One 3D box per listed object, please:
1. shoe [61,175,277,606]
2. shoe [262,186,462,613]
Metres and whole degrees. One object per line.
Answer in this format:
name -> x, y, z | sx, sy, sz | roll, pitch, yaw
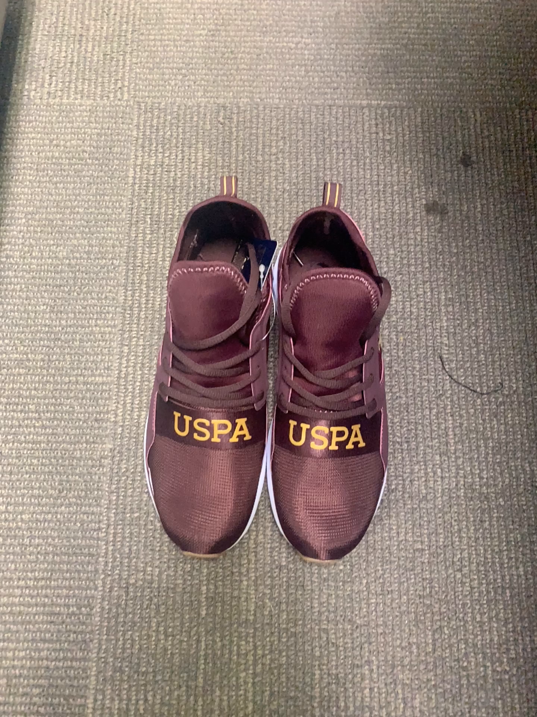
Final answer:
shoe -> -0.051, 0.025, 0.385 | 0.103, 0.156, 0.242 | 2, 77, 0
shoe -> 0.052, 0.030, 0.384 | 0.103, 0.149, 0.241 | 2, 77, 0
